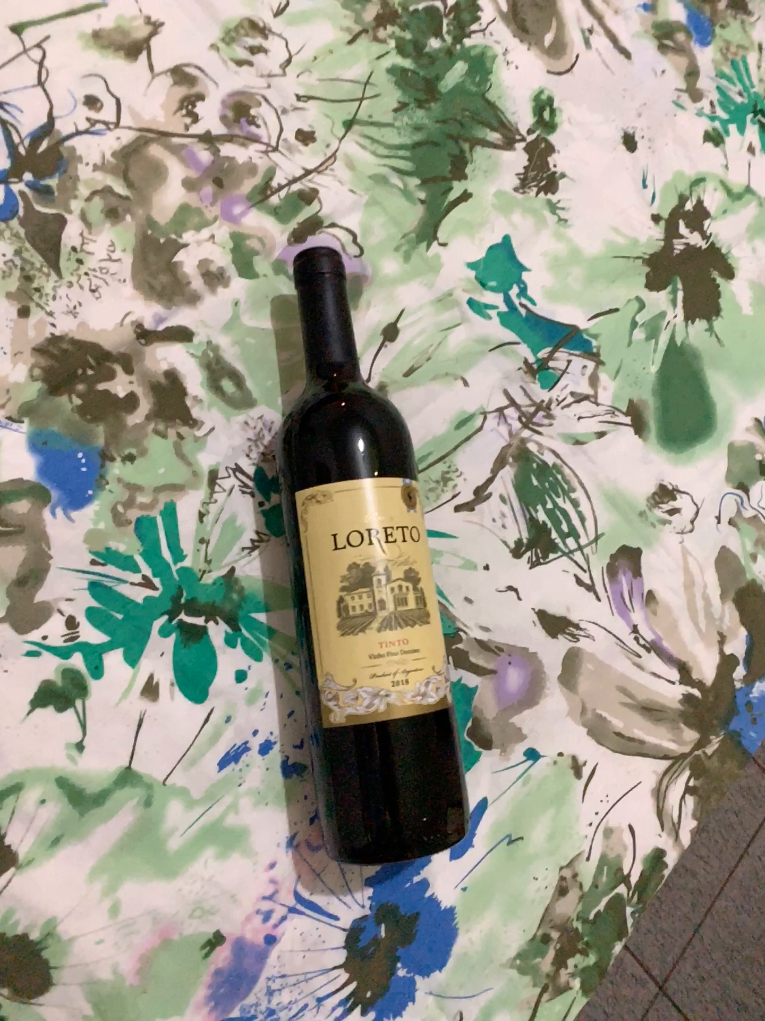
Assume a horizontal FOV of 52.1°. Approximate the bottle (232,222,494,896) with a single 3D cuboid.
[{"bbox_3d":[-0.015,0.014,0.394,0.080,0.050,0.310,-4,80,-23],"label":"bottle"}]
